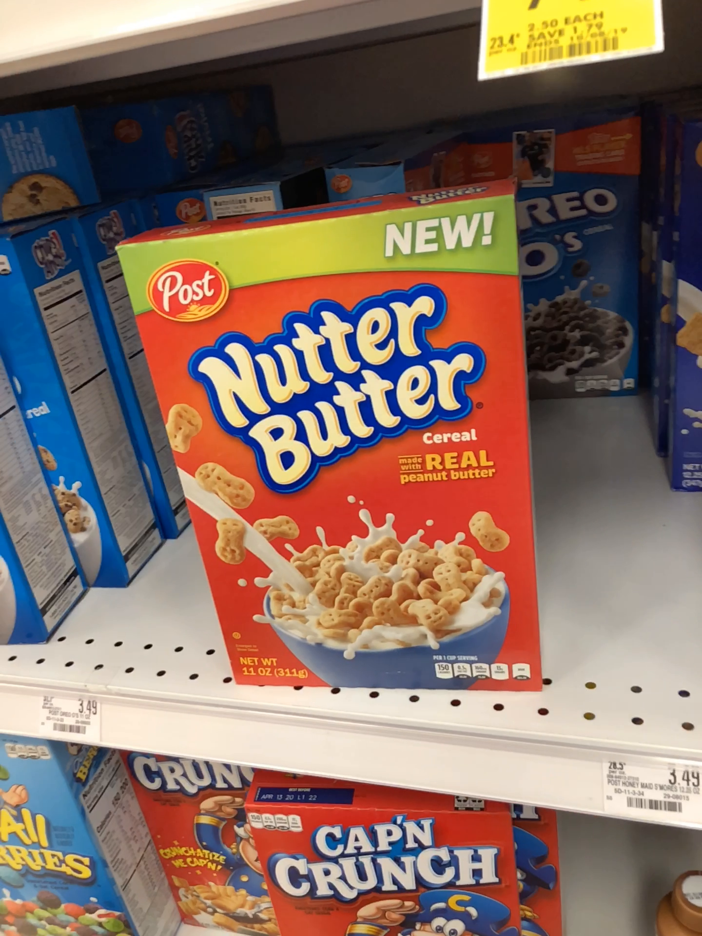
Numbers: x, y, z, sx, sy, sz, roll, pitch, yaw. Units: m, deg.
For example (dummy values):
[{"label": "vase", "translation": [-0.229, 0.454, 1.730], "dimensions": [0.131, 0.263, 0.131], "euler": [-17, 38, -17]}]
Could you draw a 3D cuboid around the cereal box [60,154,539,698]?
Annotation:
[{"label": "cereal box", "translation": [-0.009, -0.007, 0.417], "dimensions": [0.200, 0.269, 0.070], "euler": [-3, 26, 15]}]
